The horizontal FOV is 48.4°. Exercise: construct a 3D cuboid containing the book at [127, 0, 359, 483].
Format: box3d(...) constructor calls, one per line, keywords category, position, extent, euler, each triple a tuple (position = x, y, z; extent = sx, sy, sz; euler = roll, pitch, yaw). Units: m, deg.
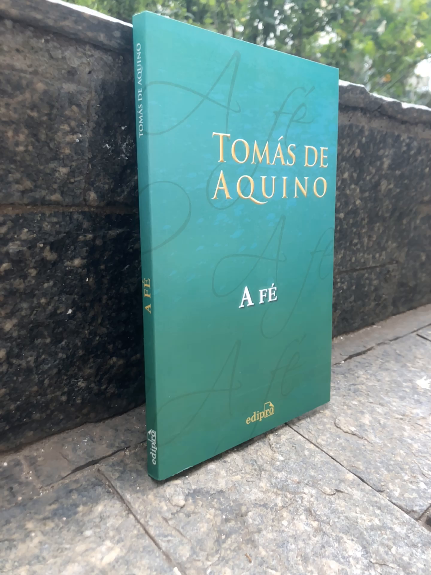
box3d(category="book", position=(0.022, -0.021, 0.252), extent=(0.143, 0.199, 0.020), euler=(-8, 13, -42))
